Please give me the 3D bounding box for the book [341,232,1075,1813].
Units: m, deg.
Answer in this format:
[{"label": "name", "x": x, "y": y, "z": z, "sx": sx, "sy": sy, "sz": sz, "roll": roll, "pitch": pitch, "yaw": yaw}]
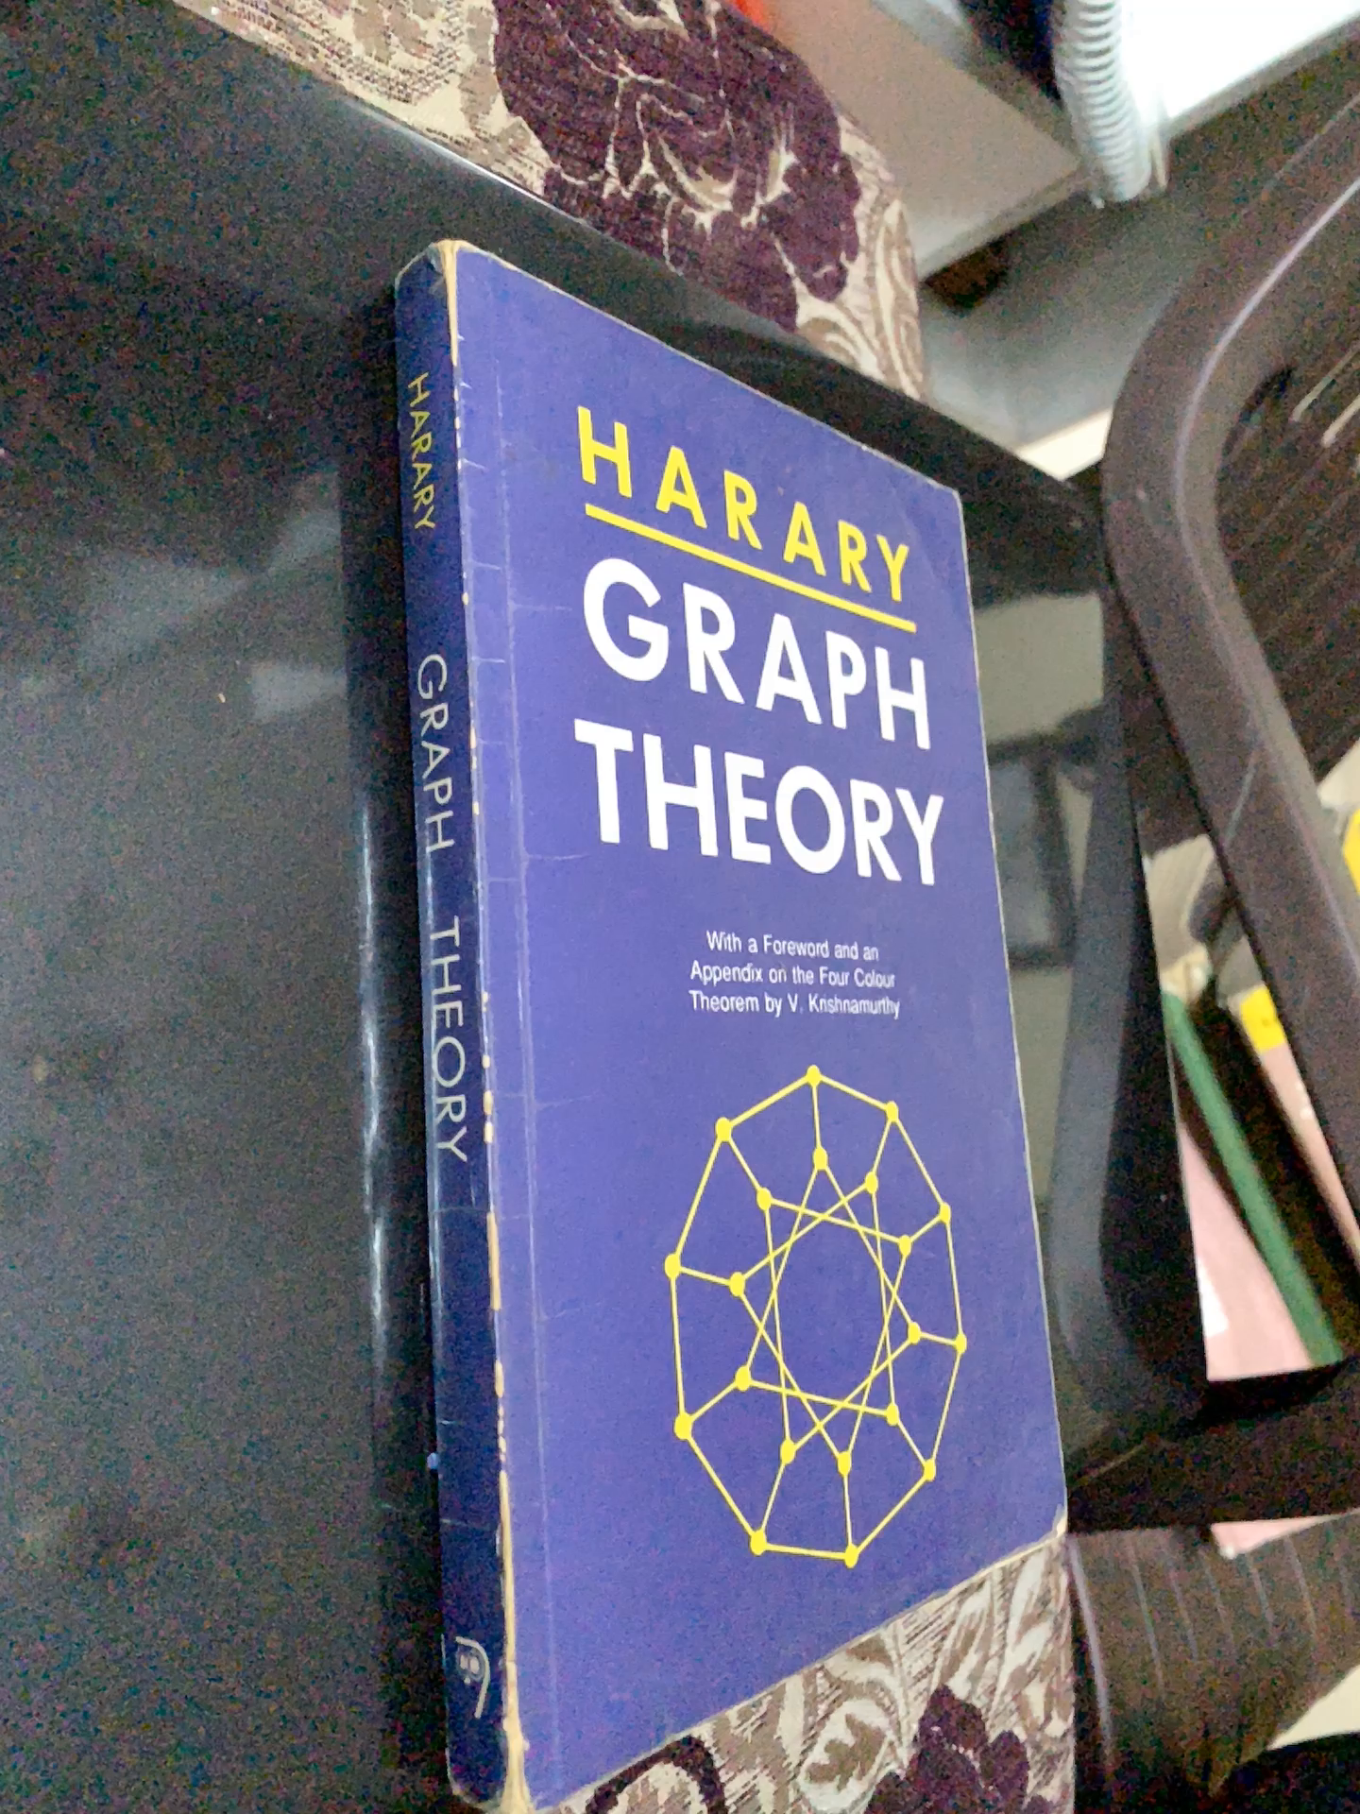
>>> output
[{"label": "book", "x": 0.012, "y": 0.013, "z": 0.235, "sx": 0.141, "sy": 0.020, "sz": 0.200, "roll": 6, "pitch": 77, "yaw": -47}]
